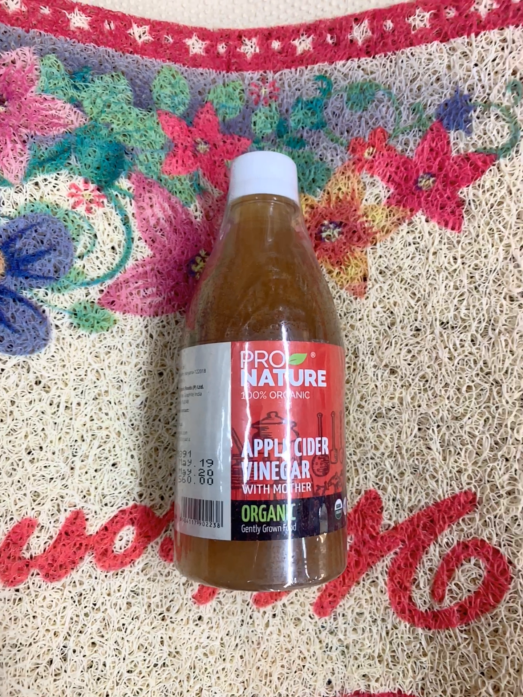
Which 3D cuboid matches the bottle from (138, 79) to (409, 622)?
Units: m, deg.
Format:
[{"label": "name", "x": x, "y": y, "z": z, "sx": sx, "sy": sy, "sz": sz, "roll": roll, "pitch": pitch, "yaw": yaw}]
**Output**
[{"label": "bottle", "x": 0.002, "y": 0.002, "z": 0.197, "sx": 0.080, "sy": 0.050, "sz": 0.160, "roll": 2, "pitch": 90, "yaw": -20}]
